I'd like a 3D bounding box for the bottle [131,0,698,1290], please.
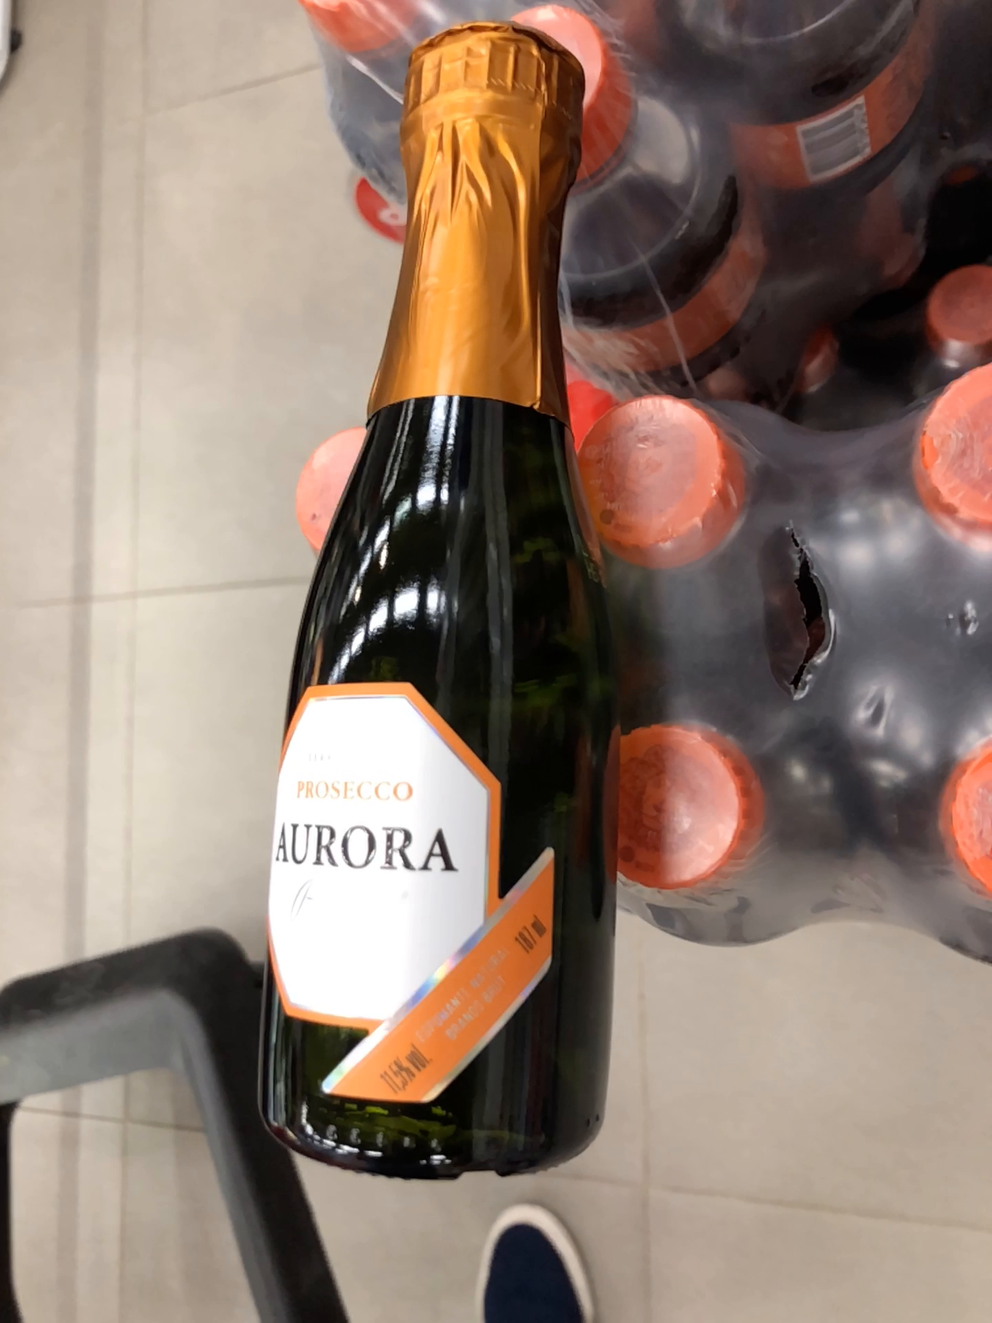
[{"bbox_3d":[-0.008,-0.014,0.172,0.060,0.050,0.180,2,87,21],"label":"bottle"}]
